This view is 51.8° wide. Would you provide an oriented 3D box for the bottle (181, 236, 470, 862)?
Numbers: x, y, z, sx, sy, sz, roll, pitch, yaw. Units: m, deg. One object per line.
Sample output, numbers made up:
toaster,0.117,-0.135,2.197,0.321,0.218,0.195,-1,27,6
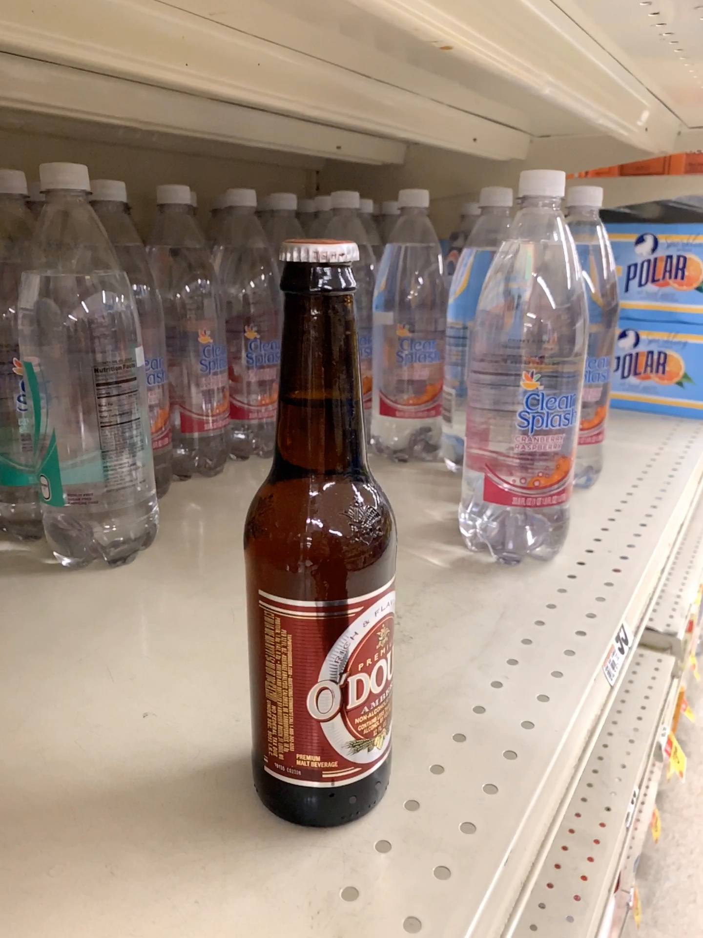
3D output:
bottle,-0.010,0.025,0.281,0.070,0.219,0.070,1,18,0
